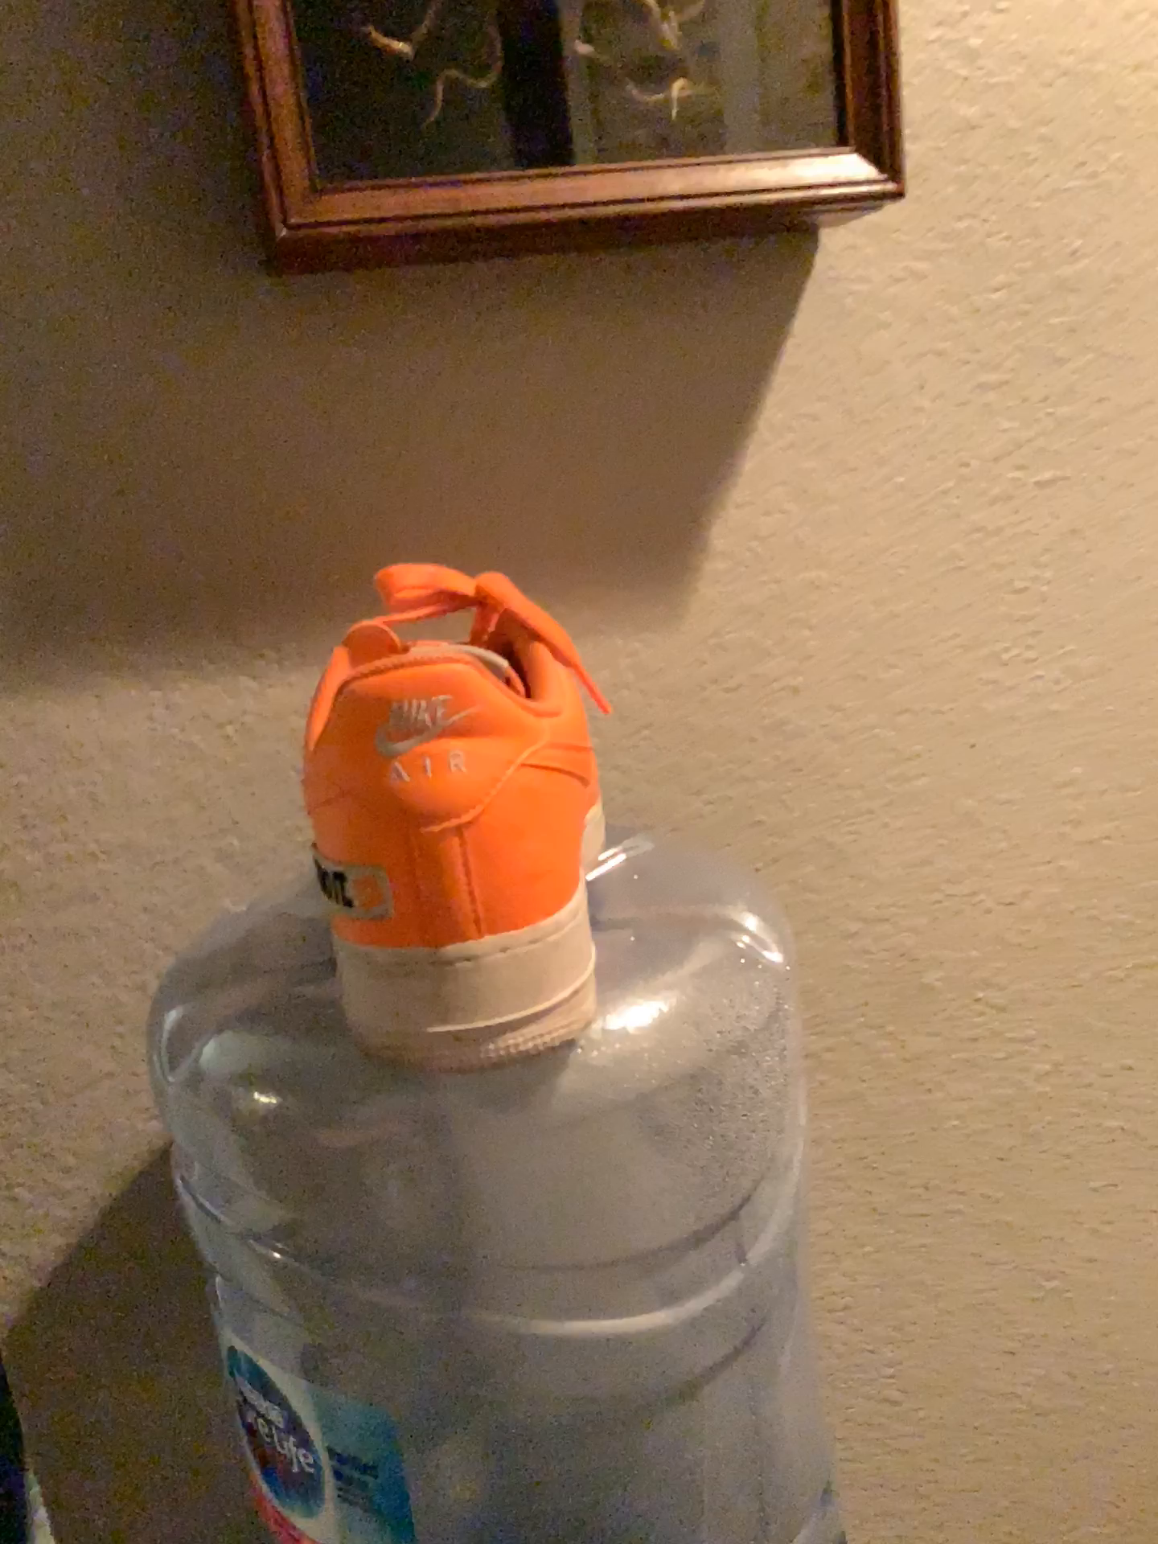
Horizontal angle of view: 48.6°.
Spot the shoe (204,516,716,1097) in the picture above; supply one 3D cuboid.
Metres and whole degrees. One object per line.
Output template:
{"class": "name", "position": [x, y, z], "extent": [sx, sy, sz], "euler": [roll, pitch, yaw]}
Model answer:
{"class": "shoe", "position": [-0.044, -0.017, 0.496], "extent": [0.120, 0.140, 0.300], "euler": [-8, 13, -4]}
